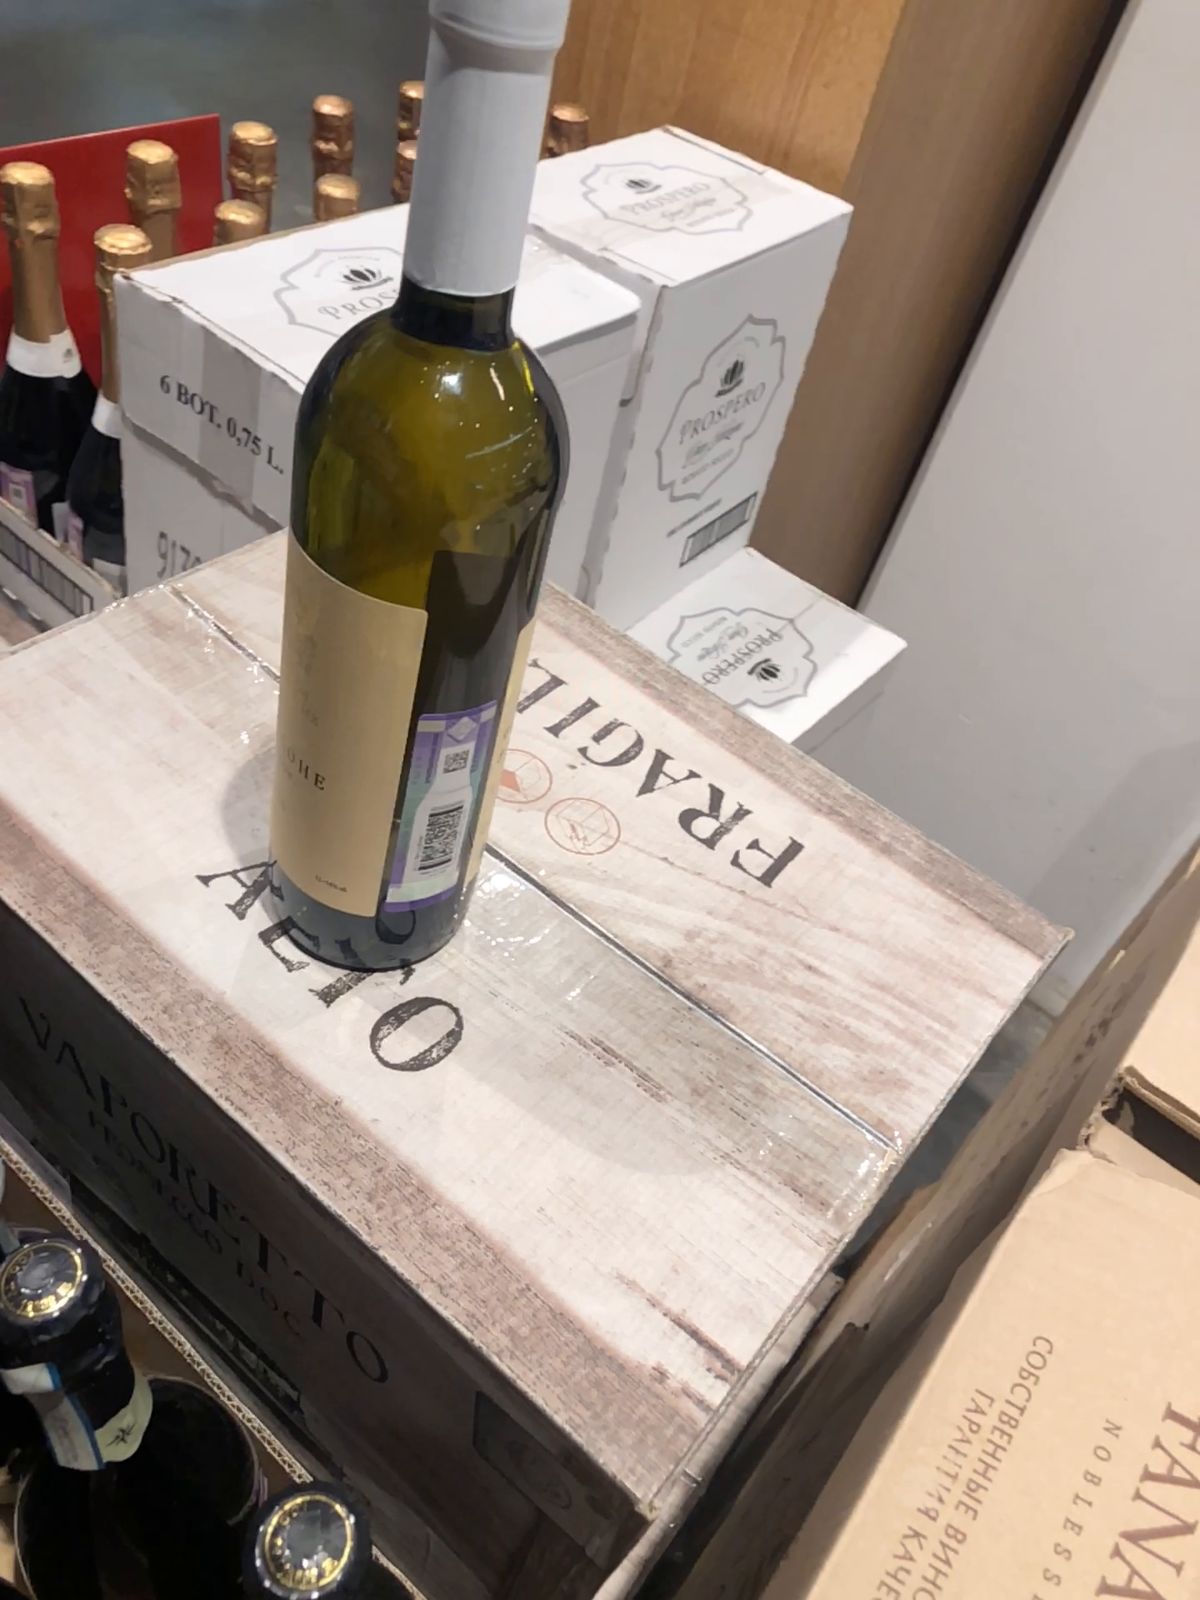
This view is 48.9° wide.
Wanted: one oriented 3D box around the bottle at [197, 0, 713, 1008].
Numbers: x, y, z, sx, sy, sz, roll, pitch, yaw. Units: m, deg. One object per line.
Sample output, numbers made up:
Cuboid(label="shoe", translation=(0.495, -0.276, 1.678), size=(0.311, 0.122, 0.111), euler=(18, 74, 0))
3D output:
Cuboid(label="bottle", translation=(-0.063, -0.073, 0.376), size=(0.080, 0.298, 0.090), euler=(-9, 50, -25))
